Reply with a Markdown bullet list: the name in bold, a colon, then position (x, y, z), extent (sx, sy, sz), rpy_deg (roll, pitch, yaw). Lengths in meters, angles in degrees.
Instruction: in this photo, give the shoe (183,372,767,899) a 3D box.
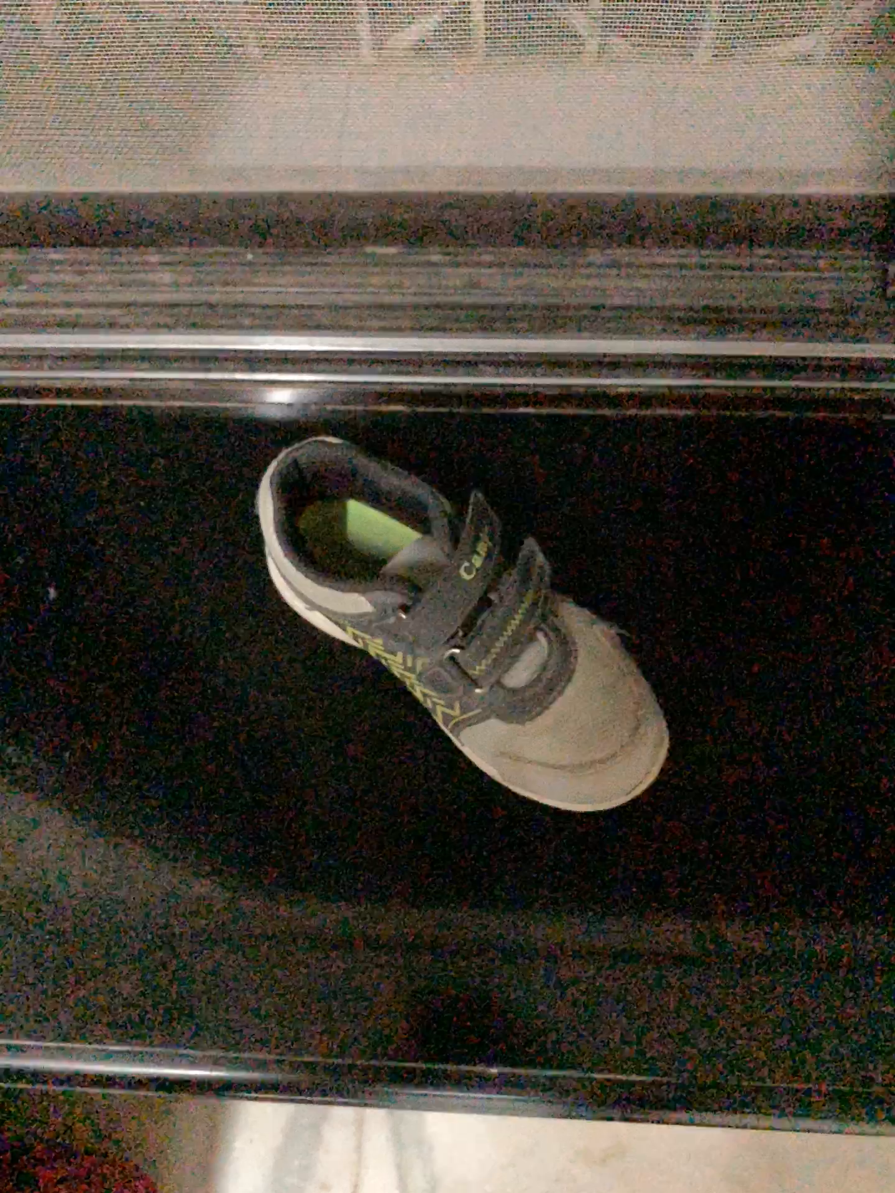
- **shoe**: position (0.006, 0.014, 0.409), extent (0.231, 0.080, 0.090), rpy_deg (38, 73, 17)
